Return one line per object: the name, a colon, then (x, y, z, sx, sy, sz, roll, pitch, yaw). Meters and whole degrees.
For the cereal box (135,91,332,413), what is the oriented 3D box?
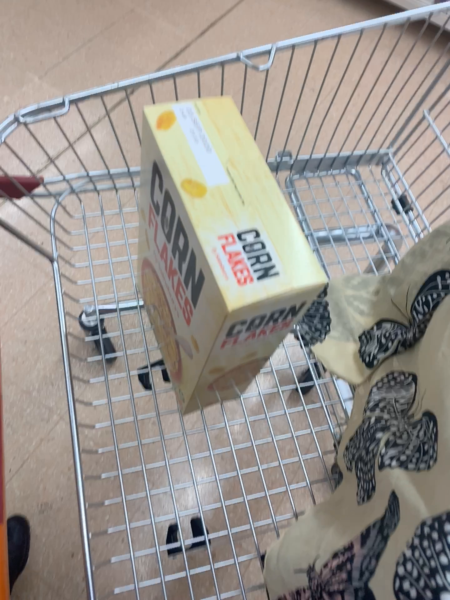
cereal box: (-0.022, -0.022, 0.459, 0.080, 0.278, 0.191, -16, 67, -18)
